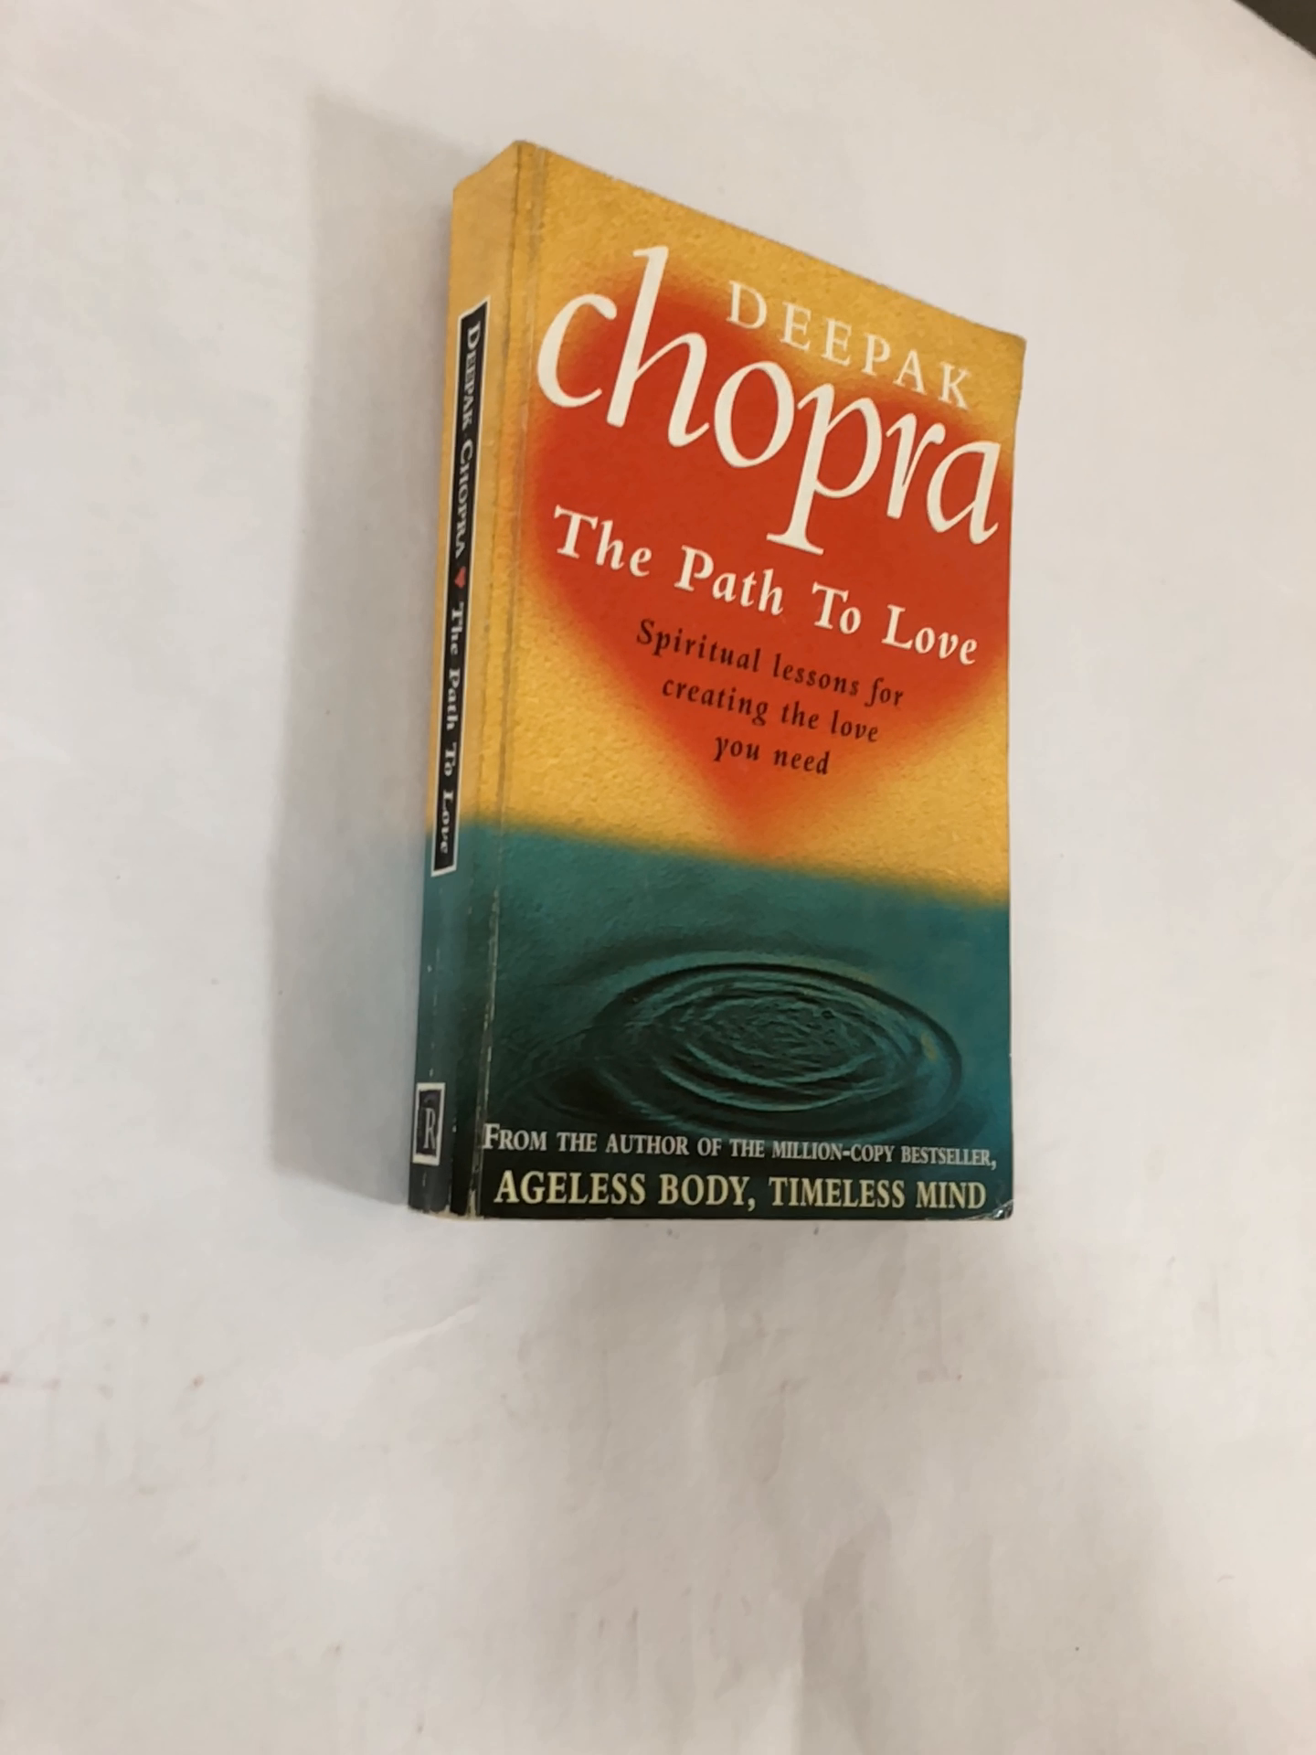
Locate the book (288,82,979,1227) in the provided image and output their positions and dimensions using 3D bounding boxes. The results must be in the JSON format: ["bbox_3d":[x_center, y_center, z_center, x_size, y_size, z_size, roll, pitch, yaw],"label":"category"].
[{"bbox_3d":[0.002,-0.033,0.296,0.130,0.040,0.200,8,77,-33],"label":"book"}]
